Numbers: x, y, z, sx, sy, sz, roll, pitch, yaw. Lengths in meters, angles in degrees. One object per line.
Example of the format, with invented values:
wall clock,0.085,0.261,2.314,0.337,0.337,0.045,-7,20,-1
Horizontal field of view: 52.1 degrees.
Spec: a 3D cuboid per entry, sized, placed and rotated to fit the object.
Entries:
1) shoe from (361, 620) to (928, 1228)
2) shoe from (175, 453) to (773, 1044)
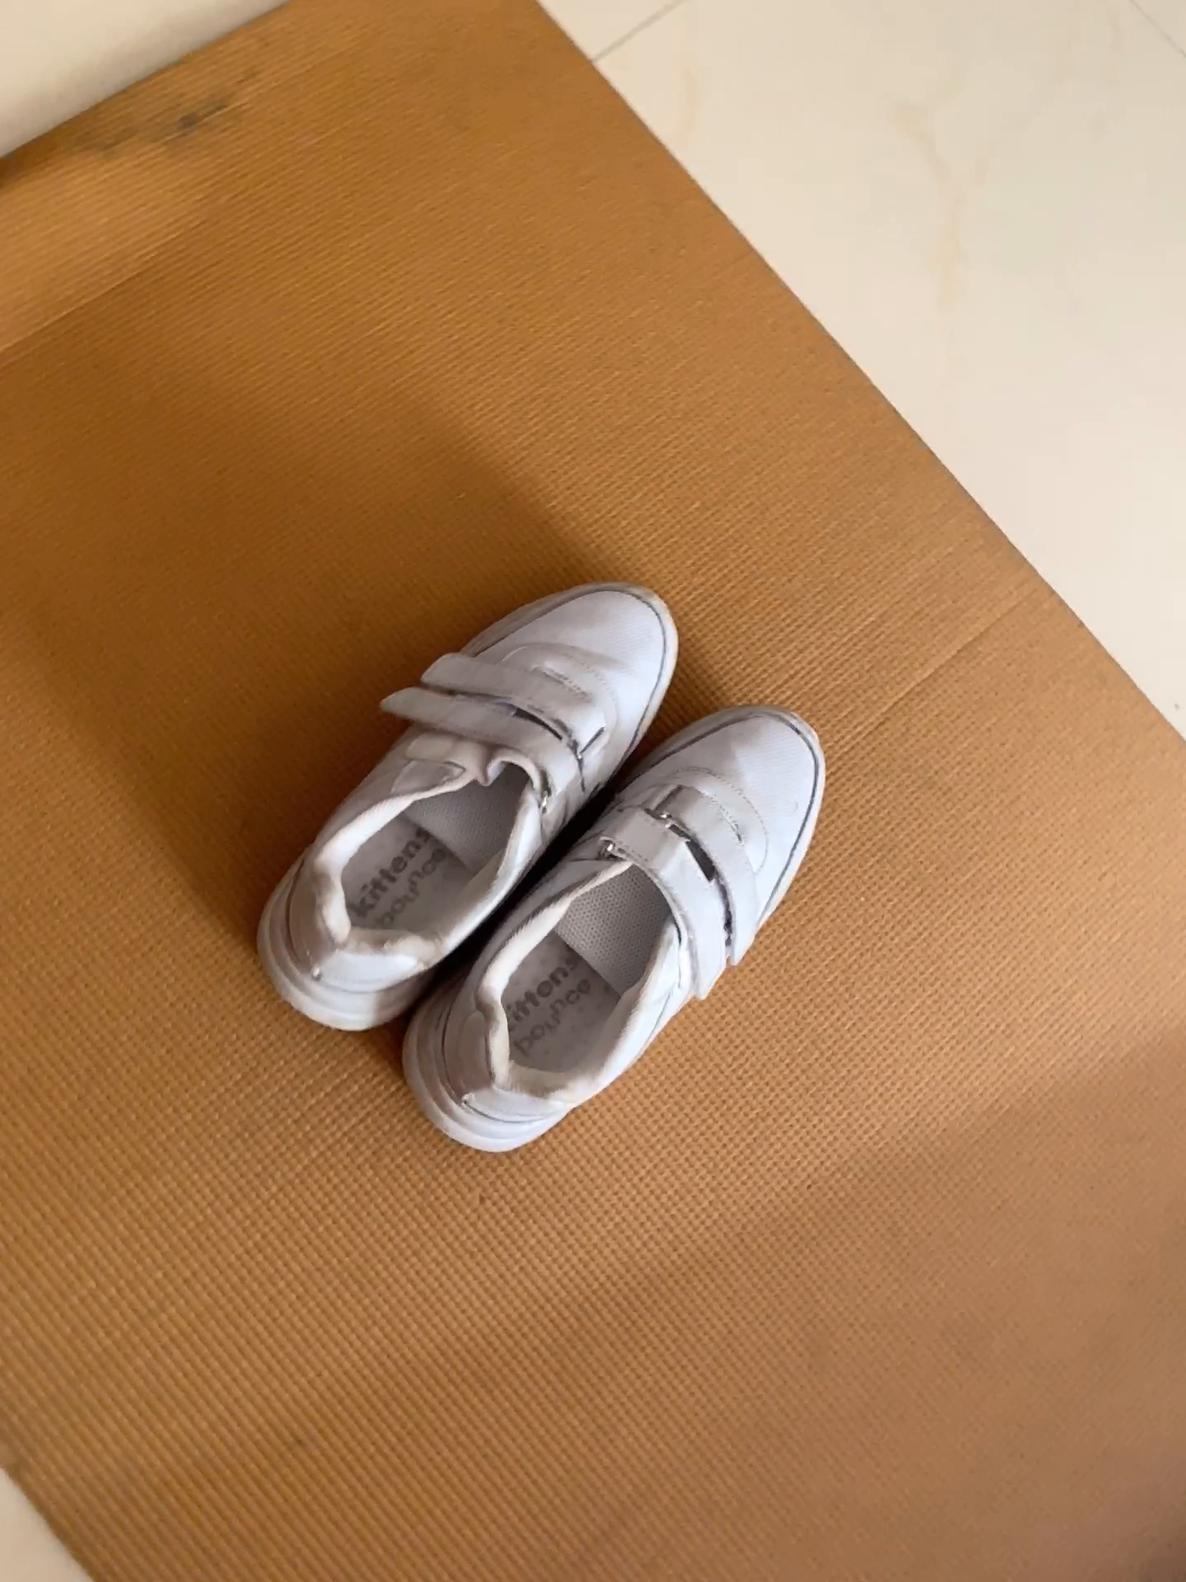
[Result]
shoe,0.019,0.054,0.522,0.090,0.100,0.240,43,74,1
shoe,-0.045,-0.019,0.516,0.090,0.070,0.250,43,74,1
